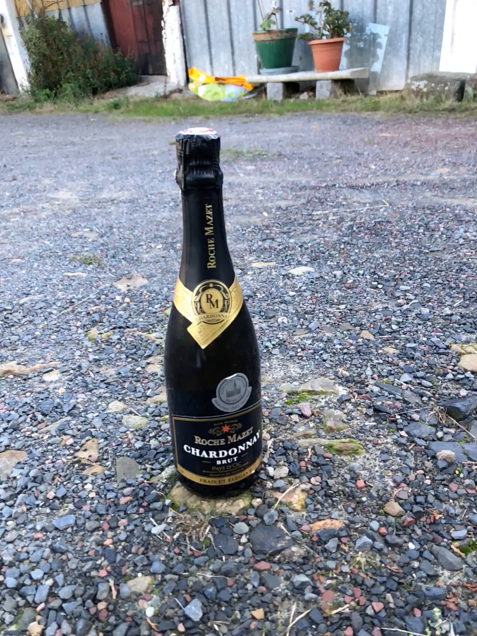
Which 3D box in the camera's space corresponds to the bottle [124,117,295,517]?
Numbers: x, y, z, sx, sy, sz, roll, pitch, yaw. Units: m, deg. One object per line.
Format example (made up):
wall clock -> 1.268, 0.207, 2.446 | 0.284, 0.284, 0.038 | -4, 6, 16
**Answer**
bottle -> -0.023, 0.004, 0.423 | 0.100, 0.298, 0.100 | -1, 27, 0
